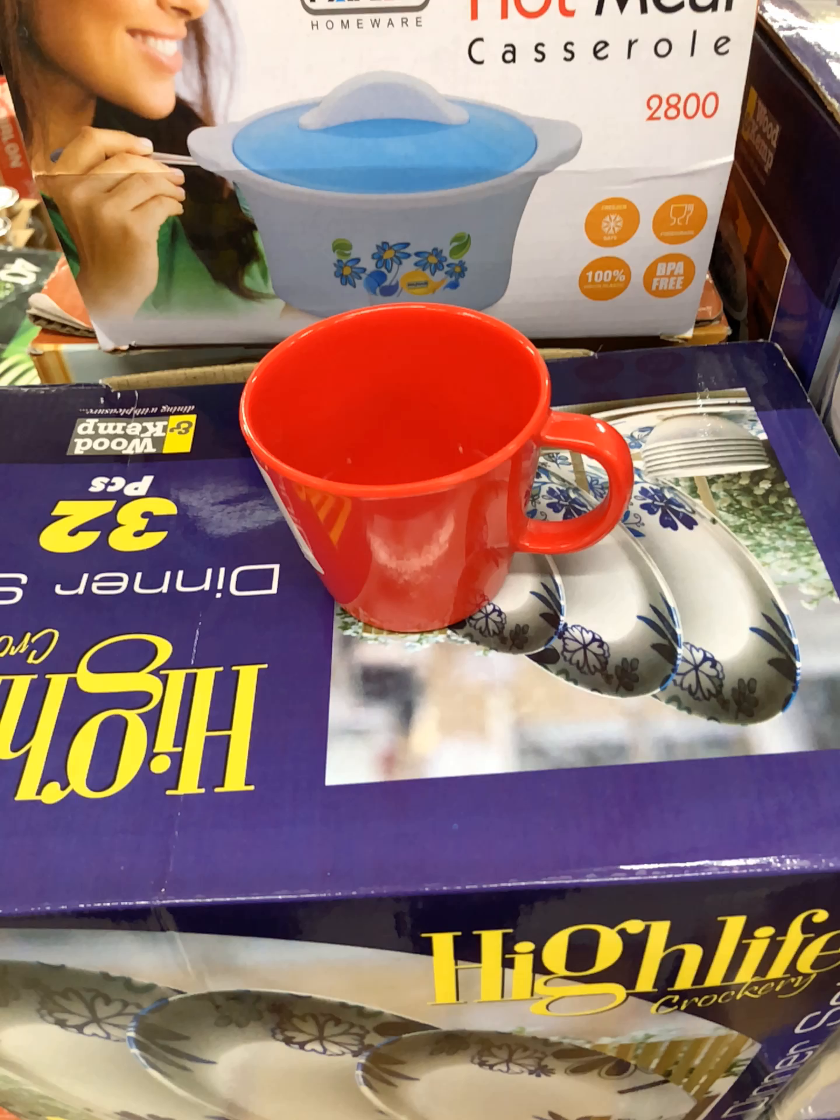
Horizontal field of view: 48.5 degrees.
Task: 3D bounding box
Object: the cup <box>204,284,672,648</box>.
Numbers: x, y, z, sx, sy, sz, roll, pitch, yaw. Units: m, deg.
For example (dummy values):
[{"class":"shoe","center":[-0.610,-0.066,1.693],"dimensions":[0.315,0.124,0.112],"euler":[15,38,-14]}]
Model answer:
[{"class":"cup","center":[0.003,-0.027,0.245],"dimensions":[0.100,0.050,0.081],"euler":[-3,46,0]}]
